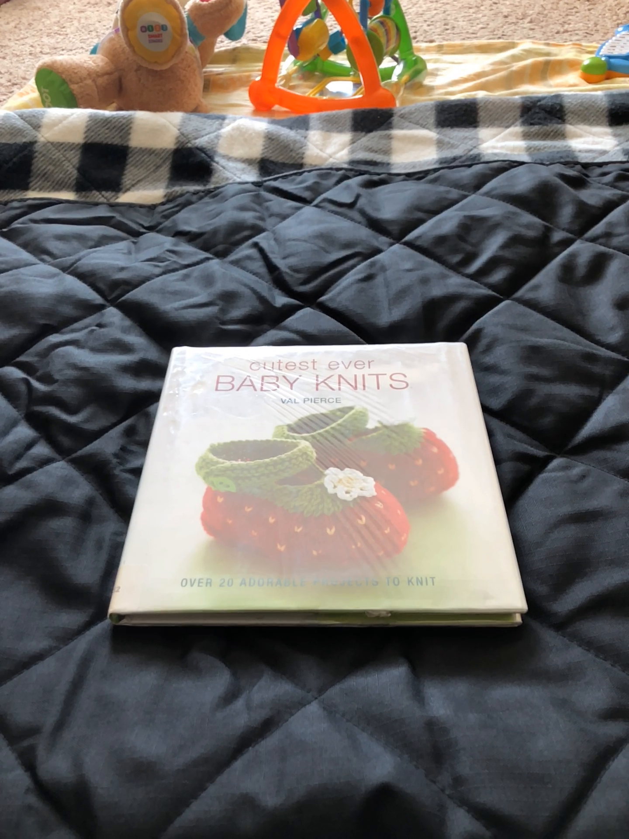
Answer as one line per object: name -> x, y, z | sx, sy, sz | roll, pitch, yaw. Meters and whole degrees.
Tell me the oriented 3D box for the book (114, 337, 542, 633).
book -> 0.006, 0.024, 0.397 | 0.197, 0.020, 0.200 | 0, 45, 0
